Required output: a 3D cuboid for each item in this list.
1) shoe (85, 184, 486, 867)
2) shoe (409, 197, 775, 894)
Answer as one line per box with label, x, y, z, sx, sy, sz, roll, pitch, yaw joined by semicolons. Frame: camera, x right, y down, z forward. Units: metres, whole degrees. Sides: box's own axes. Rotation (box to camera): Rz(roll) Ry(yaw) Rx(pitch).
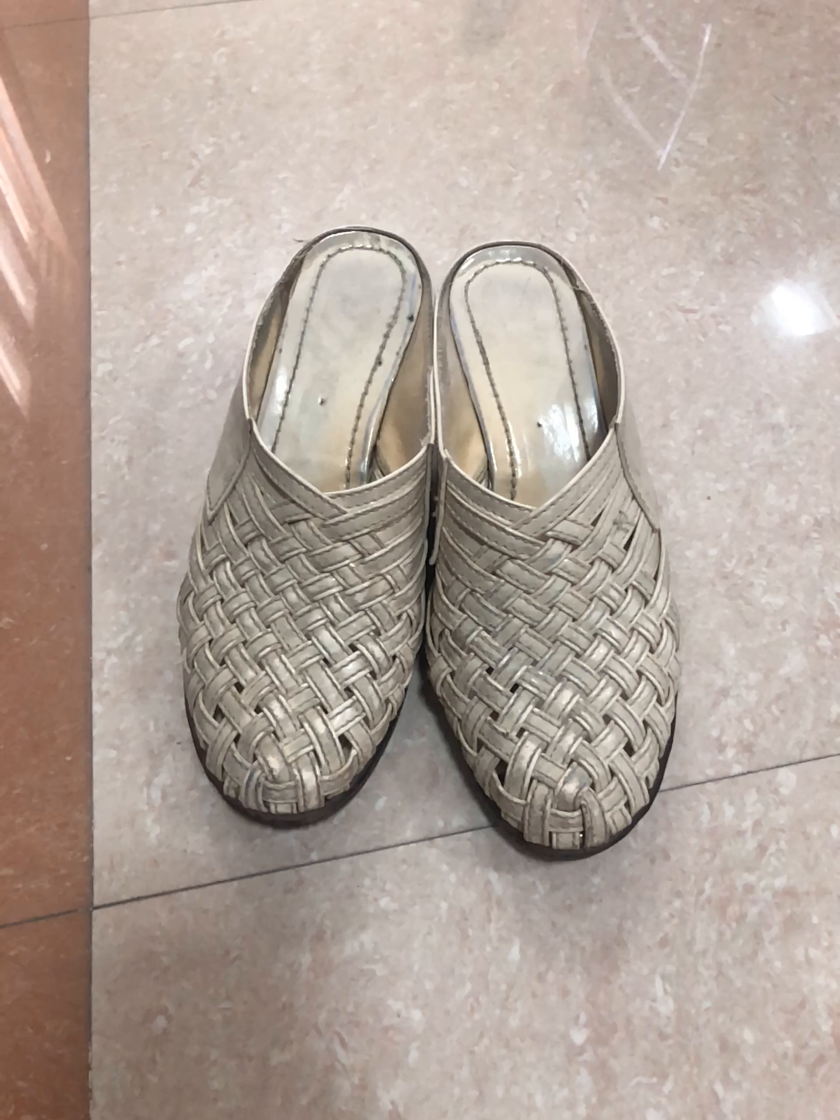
shoe;-0.031;-0.024;0.344;0.090;0.080;0.240;4;60;6
shoe;0.047;-0.014;0.339;0.090;0.080;0.240;-4;60;4
